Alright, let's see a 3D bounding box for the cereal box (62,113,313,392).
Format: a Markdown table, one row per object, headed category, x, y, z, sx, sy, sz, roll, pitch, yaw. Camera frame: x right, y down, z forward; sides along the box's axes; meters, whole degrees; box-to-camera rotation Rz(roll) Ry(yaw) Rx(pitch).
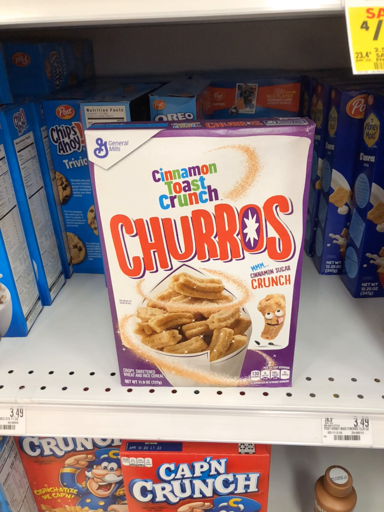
| category | x | y | z | sx | sy | sz | roll | pitch | yaw |
| --- | --- | --- | --- | --- | --- | --- | --- | --- | --- |
| cereal box | 0.001 | 0.010 | 0.427 | 0.200 | 0.279 | 0.060 | -1 | 27 | 4 |
